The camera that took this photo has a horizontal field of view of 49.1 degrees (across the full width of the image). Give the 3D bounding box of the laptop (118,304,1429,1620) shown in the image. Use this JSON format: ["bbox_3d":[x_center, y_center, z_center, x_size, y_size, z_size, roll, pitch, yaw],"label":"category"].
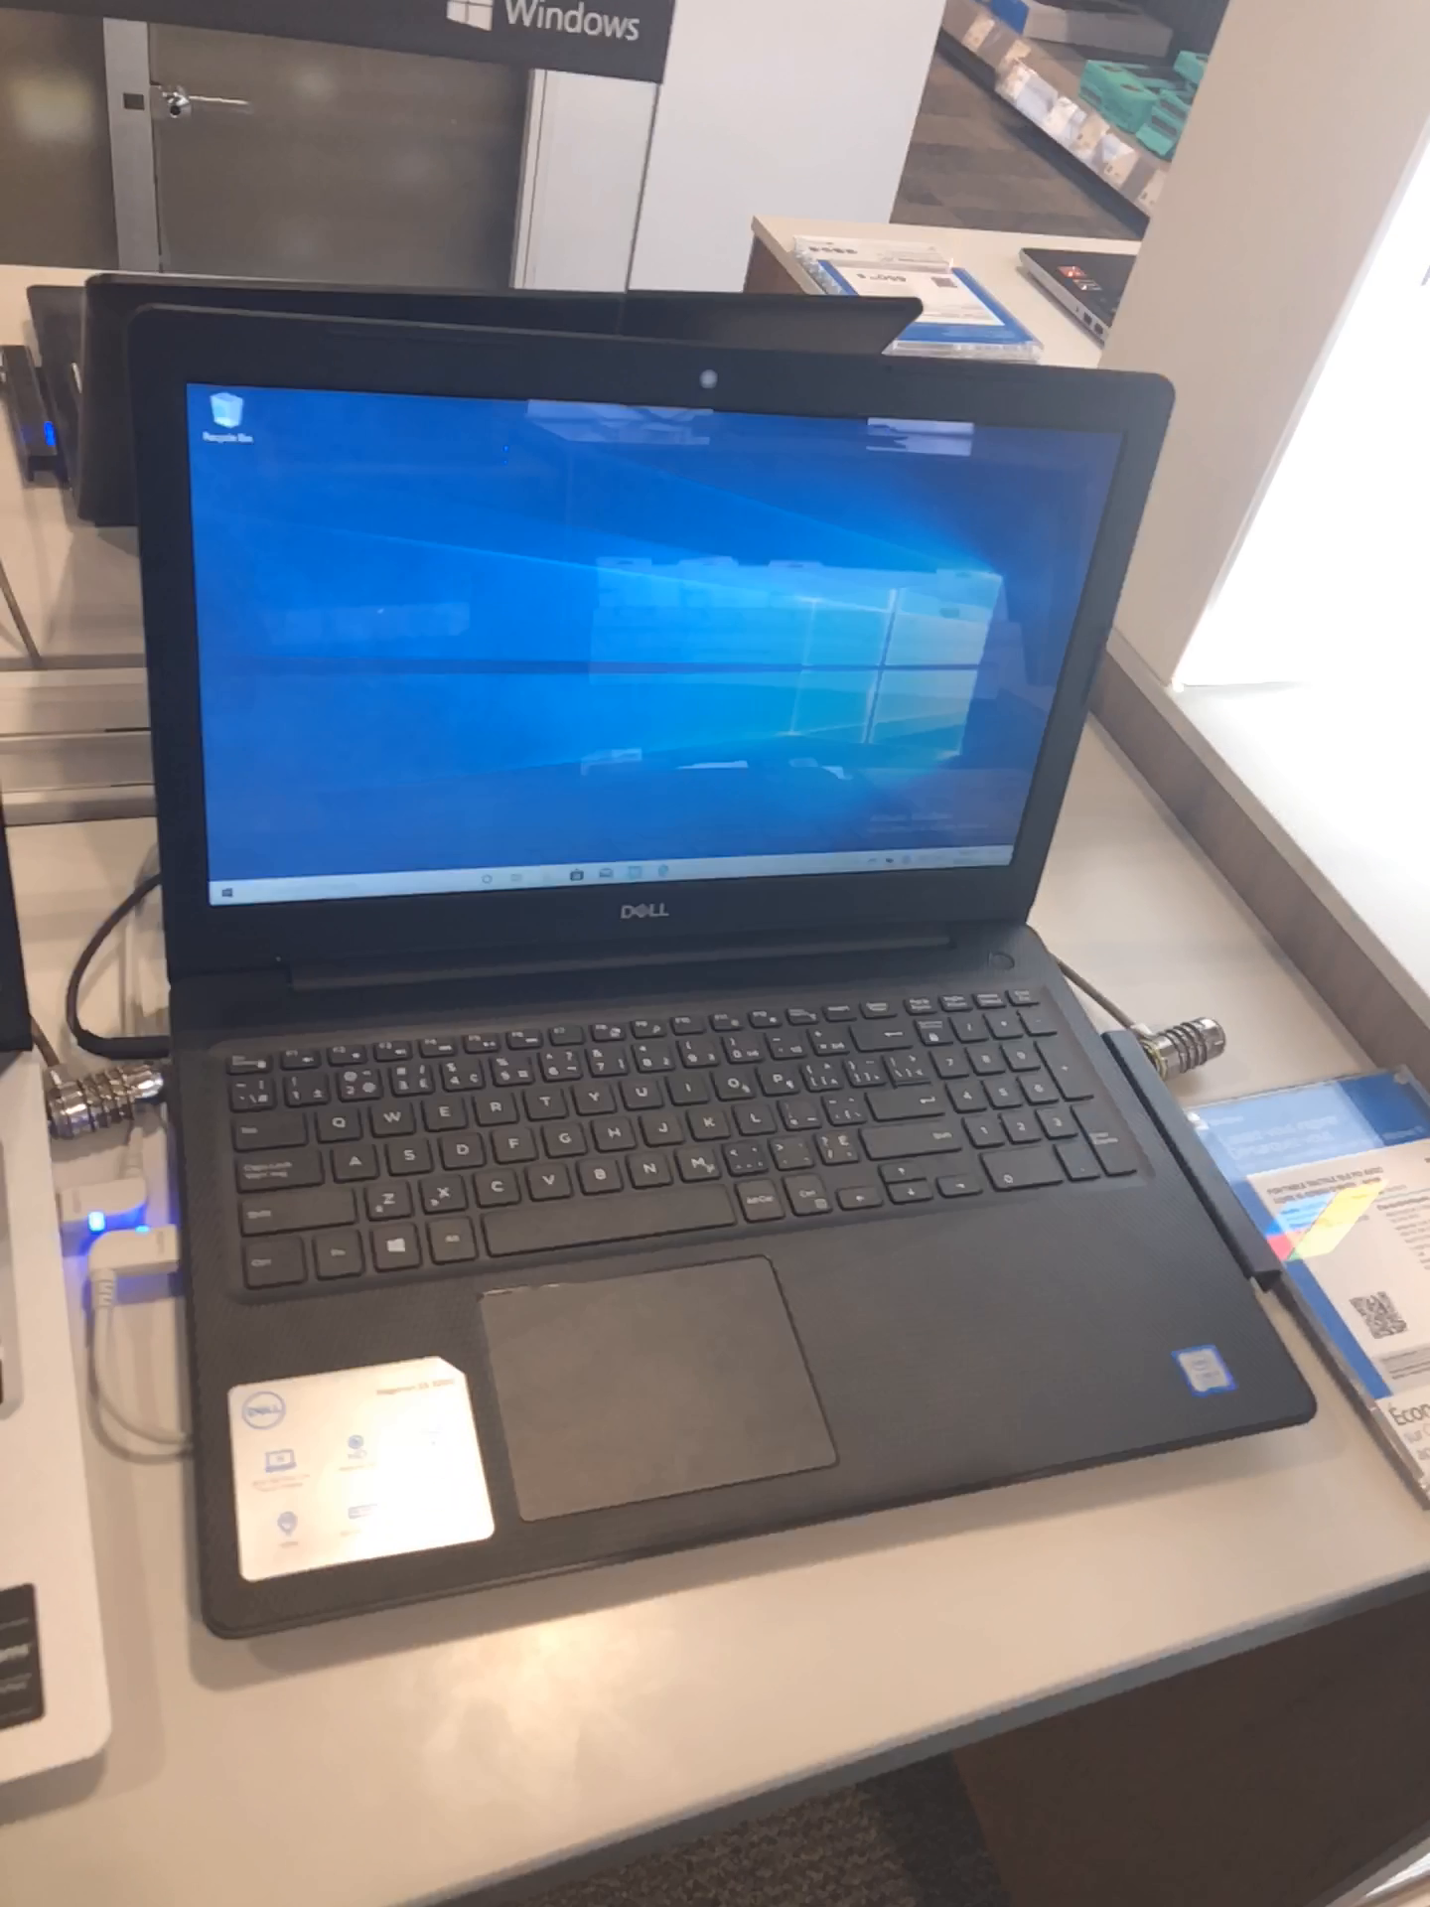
[{"bbox_3d":[0.013,-0.019,0.516,0.368,0.230,0.310,-4,46,-20],"label":"laptop"}]
